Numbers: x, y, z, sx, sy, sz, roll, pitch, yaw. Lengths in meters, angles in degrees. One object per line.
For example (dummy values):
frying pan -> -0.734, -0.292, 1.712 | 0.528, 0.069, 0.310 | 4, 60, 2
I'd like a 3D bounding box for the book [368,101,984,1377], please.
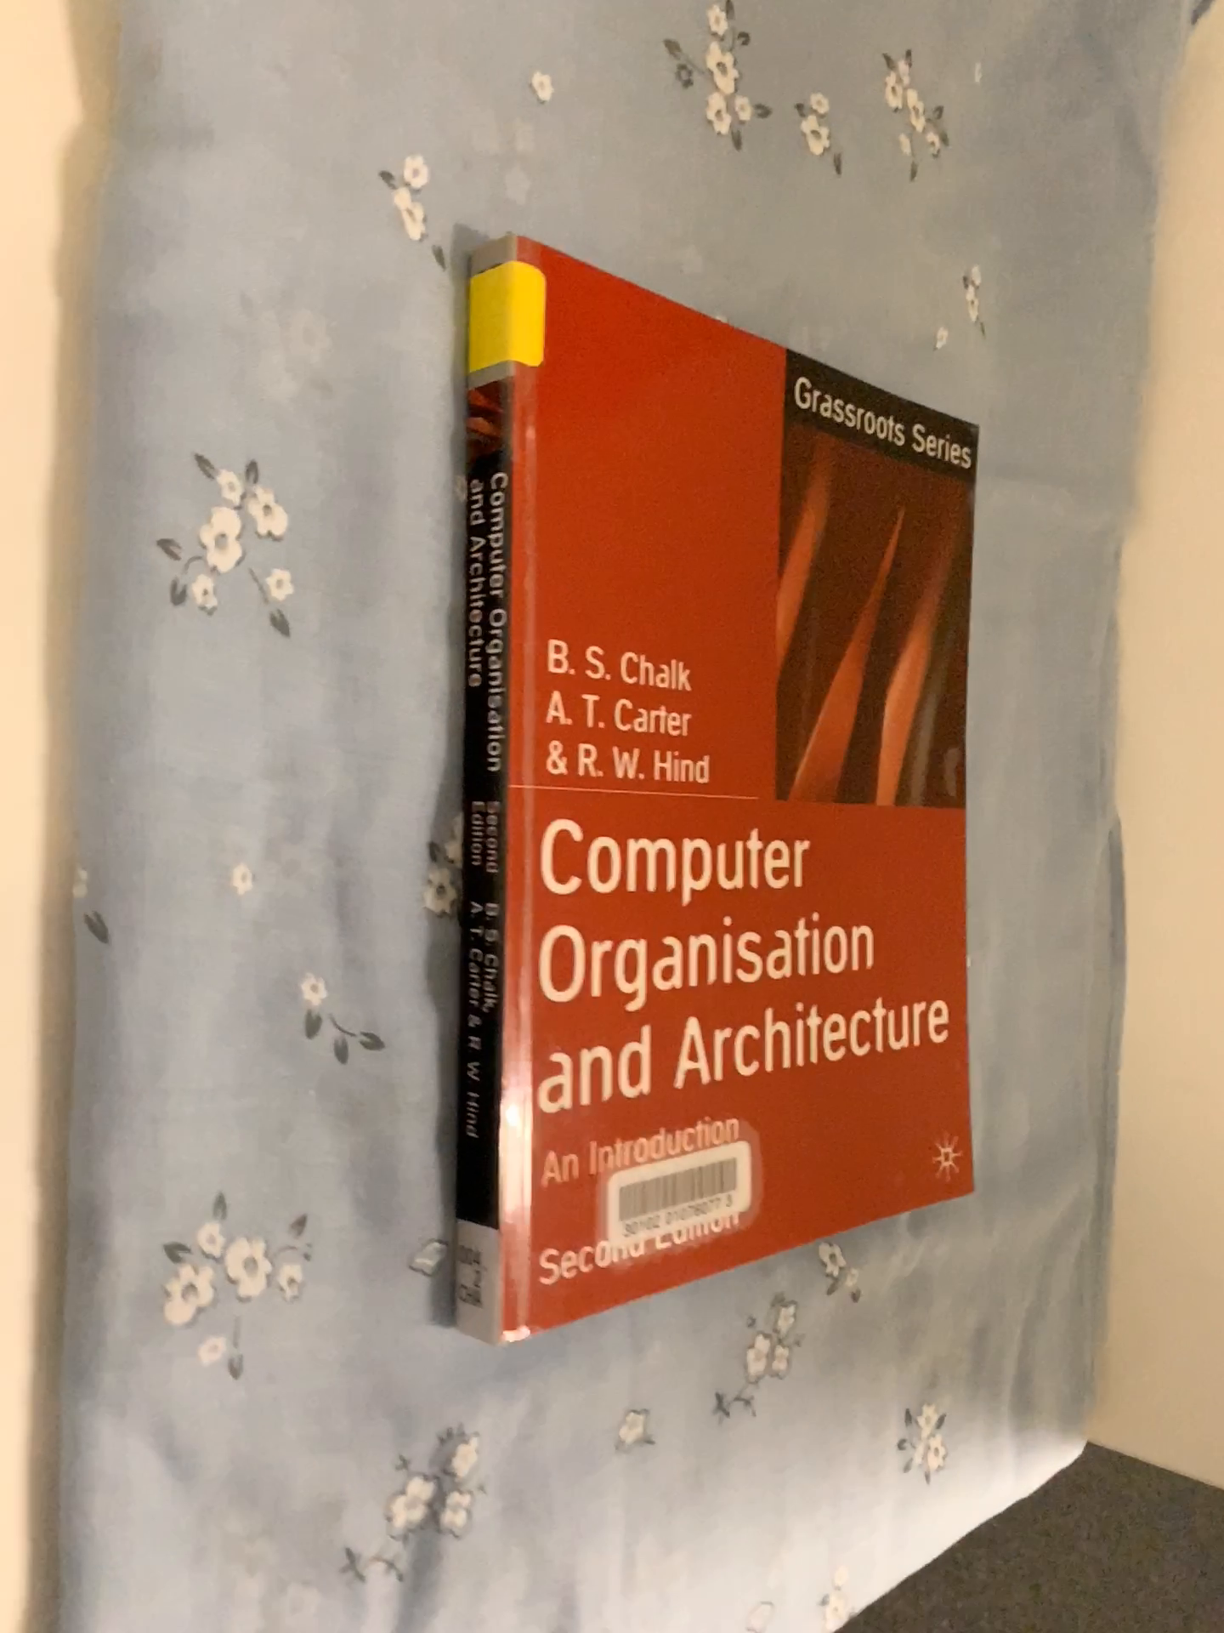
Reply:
book -> 0.034, -0.016, 0.349 | 0.211, 0.030, 0.270 | 2, 87, -43
